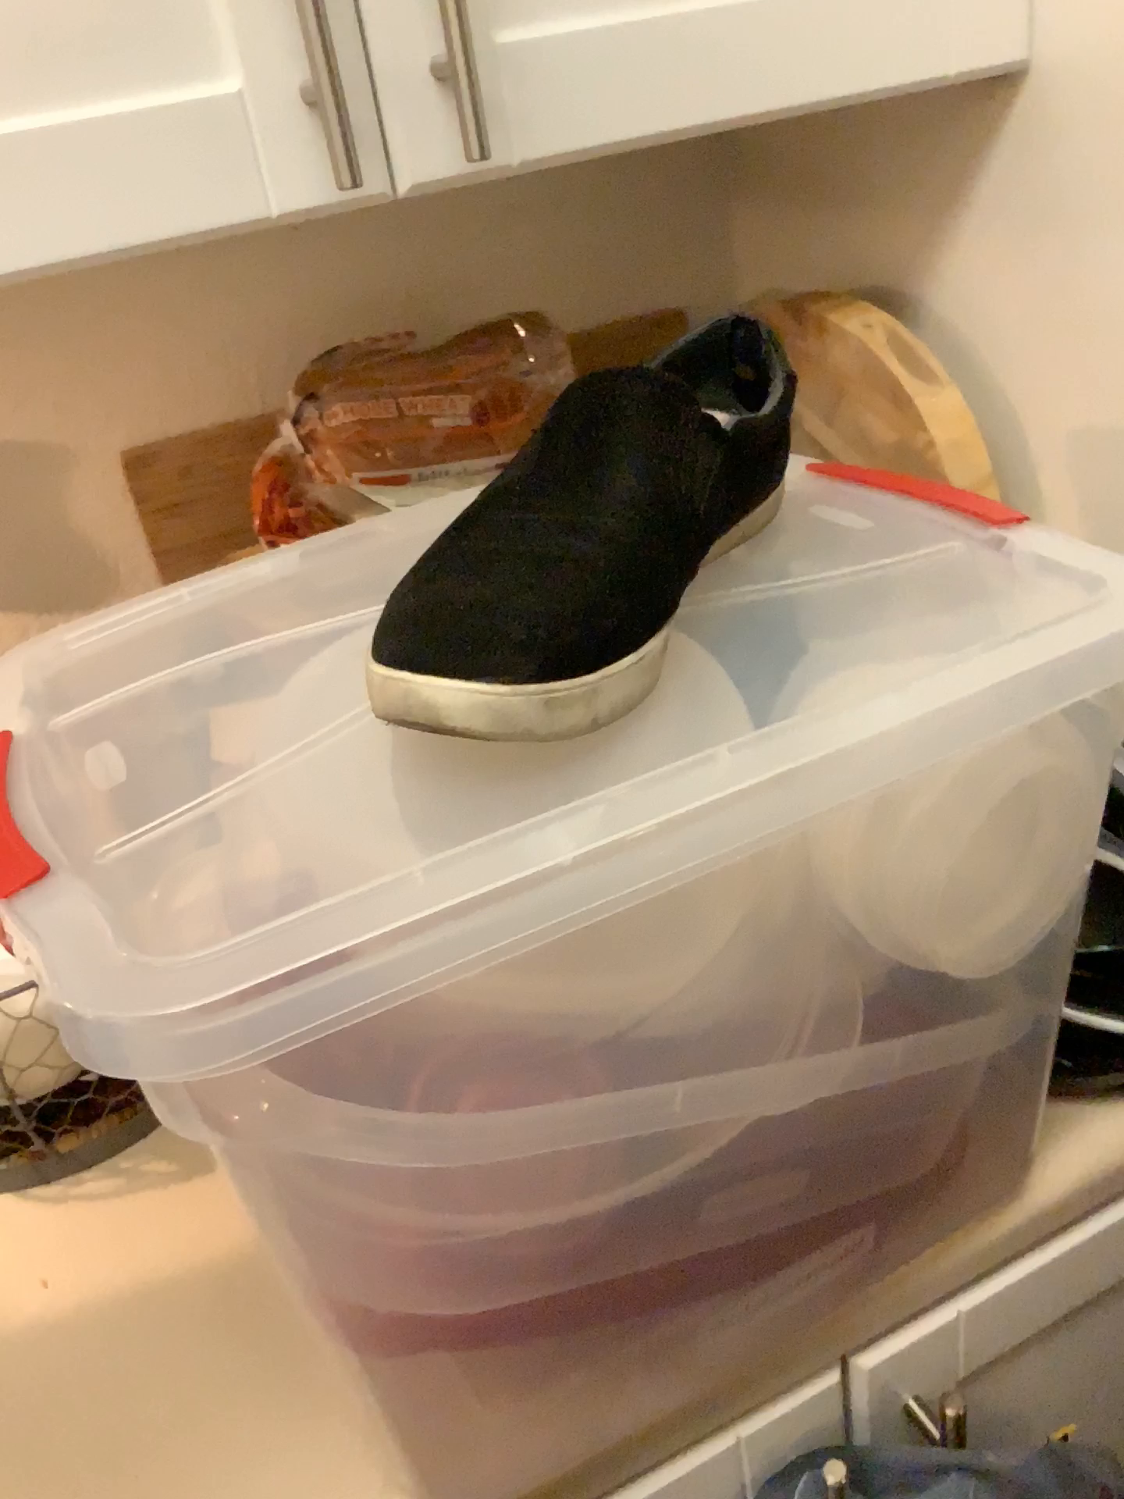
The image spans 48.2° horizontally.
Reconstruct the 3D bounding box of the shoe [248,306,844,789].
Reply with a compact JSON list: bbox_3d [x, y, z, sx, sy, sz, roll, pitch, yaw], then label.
[{"bbox_3d":[0.017,-0.091,0.461,0.100,0.070,0.270,6,33,27],"label":"shoe"}]
